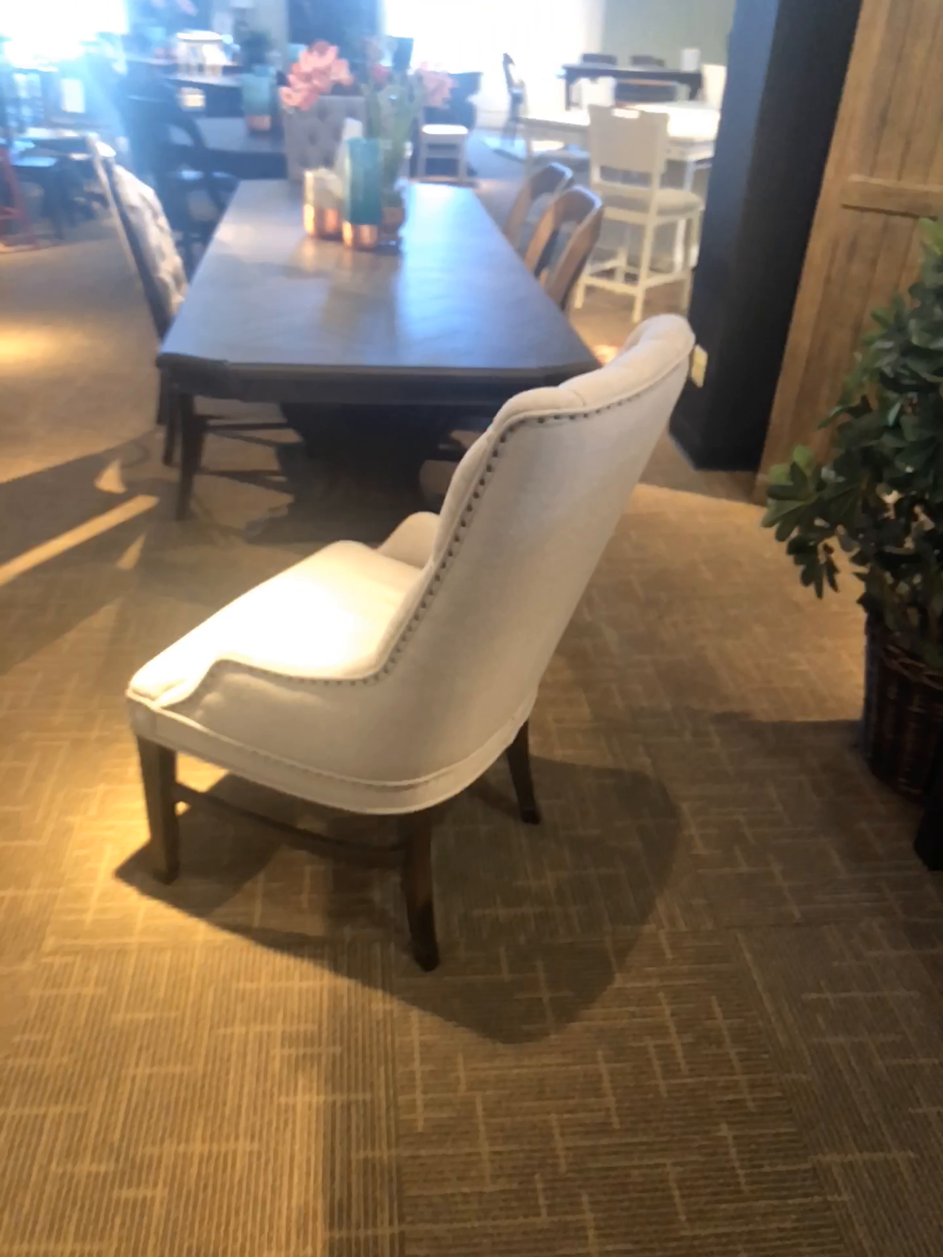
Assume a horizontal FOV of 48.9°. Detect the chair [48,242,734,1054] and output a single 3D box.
[{"bbox_3d":[-0.113,-0.024,1.755,0.761,1.015,0.643,19,34,24],"label":"chair"}]
